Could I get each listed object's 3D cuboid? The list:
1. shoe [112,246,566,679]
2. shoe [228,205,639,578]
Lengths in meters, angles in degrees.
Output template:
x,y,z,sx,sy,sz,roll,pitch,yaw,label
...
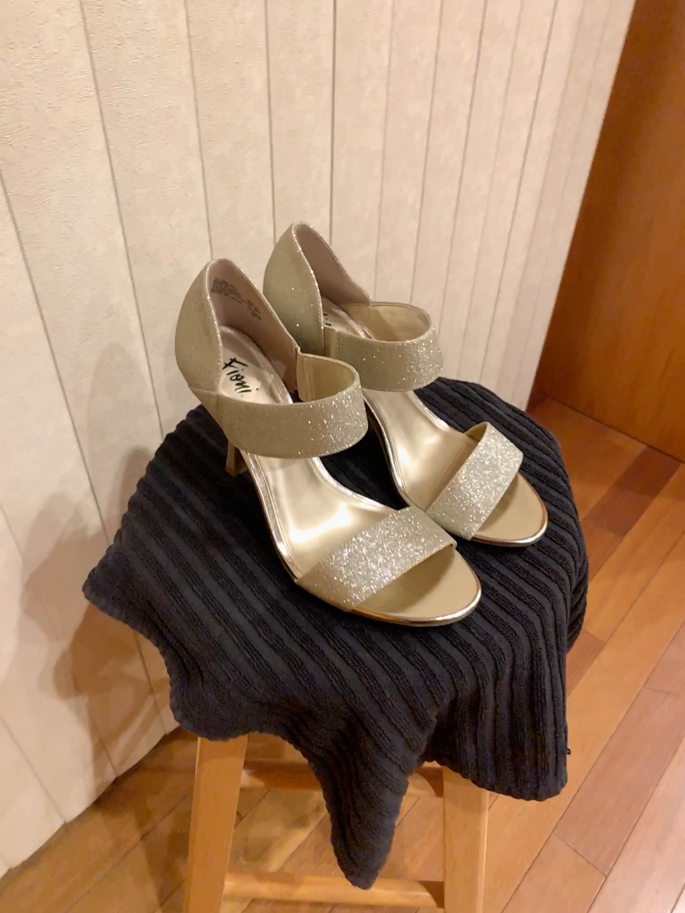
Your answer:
x,y,z,sx,sy,sz,roll,pitch,yaw,label
-0.013,-0.009,0.413,0.236,0.129,0.095,33,51,29,shoe
0.043,-0.053,0.462,0.237,0.129,0.090,33,51,29,shoe
